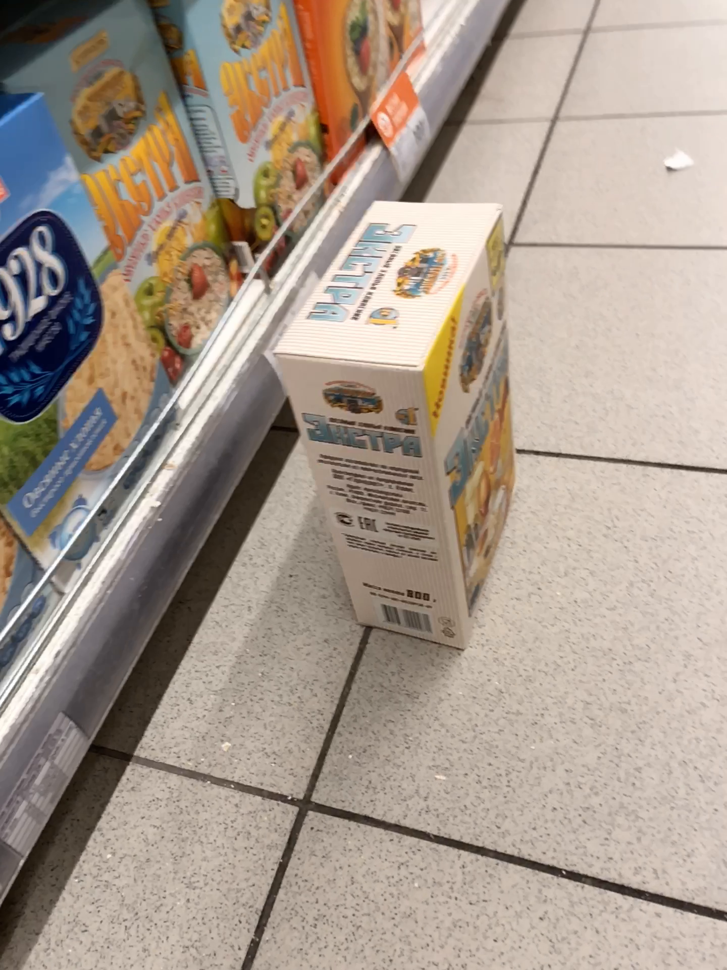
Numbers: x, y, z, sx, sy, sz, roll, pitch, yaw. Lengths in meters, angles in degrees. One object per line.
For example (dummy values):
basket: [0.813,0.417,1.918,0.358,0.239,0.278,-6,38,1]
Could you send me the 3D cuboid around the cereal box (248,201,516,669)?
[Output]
cereal box: [0.031,-0.023,0.490,0.080,0.238,0.151,8,49,21]
